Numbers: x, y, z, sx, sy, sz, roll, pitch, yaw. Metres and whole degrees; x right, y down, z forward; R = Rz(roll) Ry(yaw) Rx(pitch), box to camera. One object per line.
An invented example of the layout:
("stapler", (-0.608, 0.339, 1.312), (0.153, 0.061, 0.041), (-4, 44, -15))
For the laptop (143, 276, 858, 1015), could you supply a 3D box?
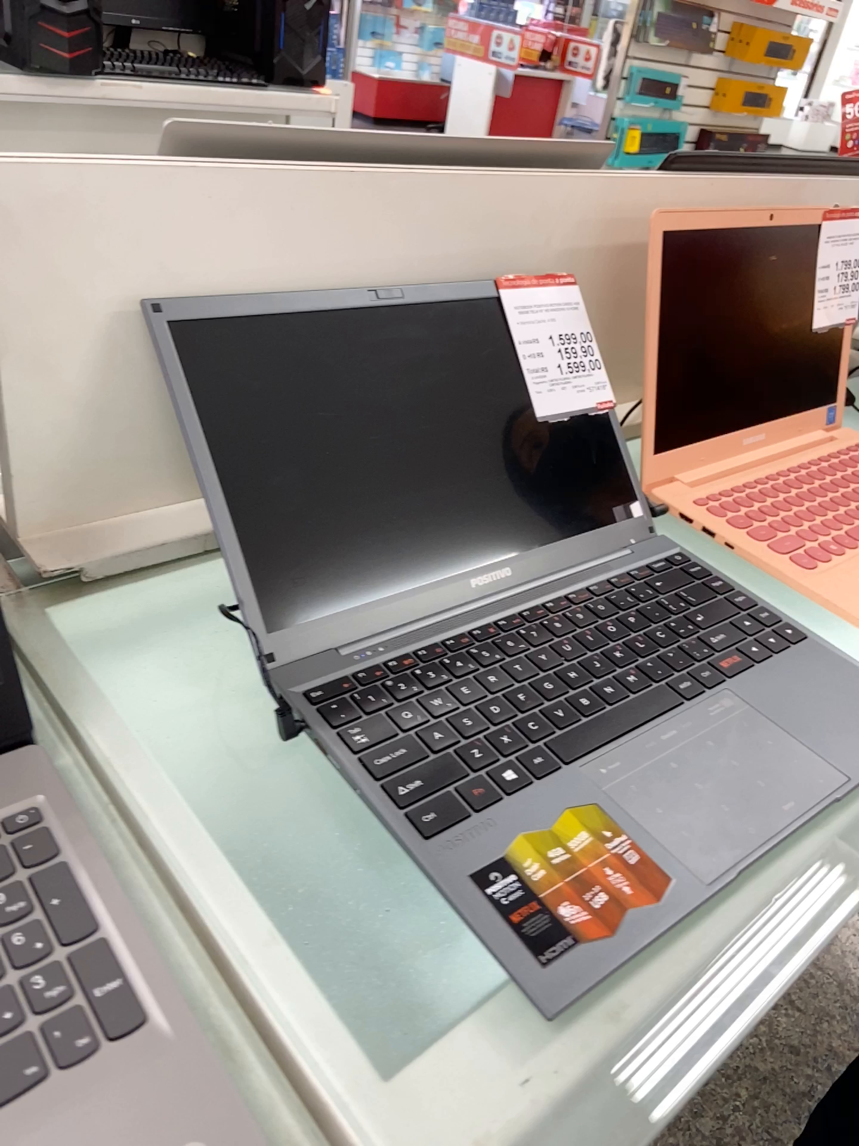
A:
("laptop", (0.075, -0.030, 0.499), (0.335, 0.144, 0.367), (-17, 42, -36))
